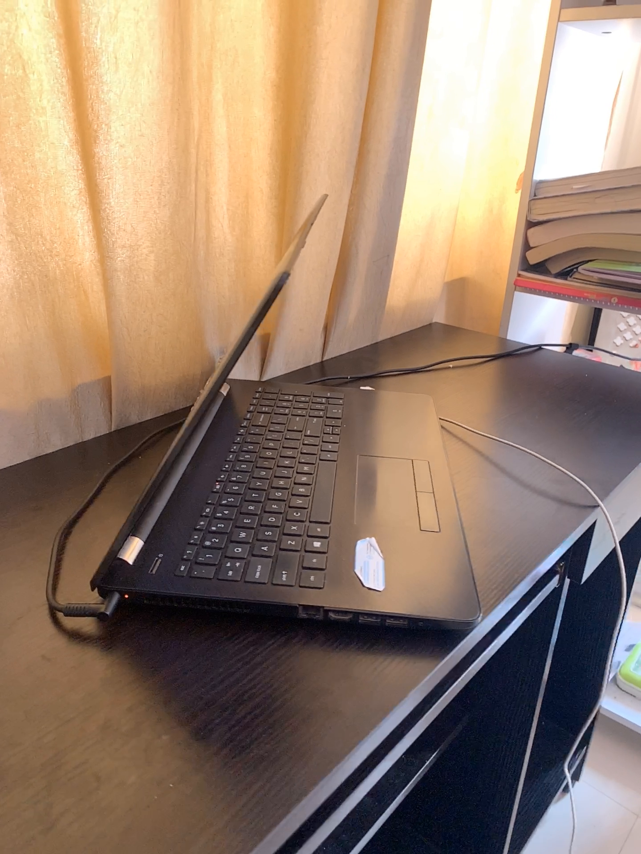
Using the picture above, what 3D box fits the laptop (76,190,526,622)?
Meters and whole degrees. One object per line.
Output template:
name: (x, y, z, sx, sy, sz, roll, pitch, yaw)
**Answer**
laptop: (0.002, -0.059, 0.548, 0.237, 0.201, 0.365, 5, 26, 3)
